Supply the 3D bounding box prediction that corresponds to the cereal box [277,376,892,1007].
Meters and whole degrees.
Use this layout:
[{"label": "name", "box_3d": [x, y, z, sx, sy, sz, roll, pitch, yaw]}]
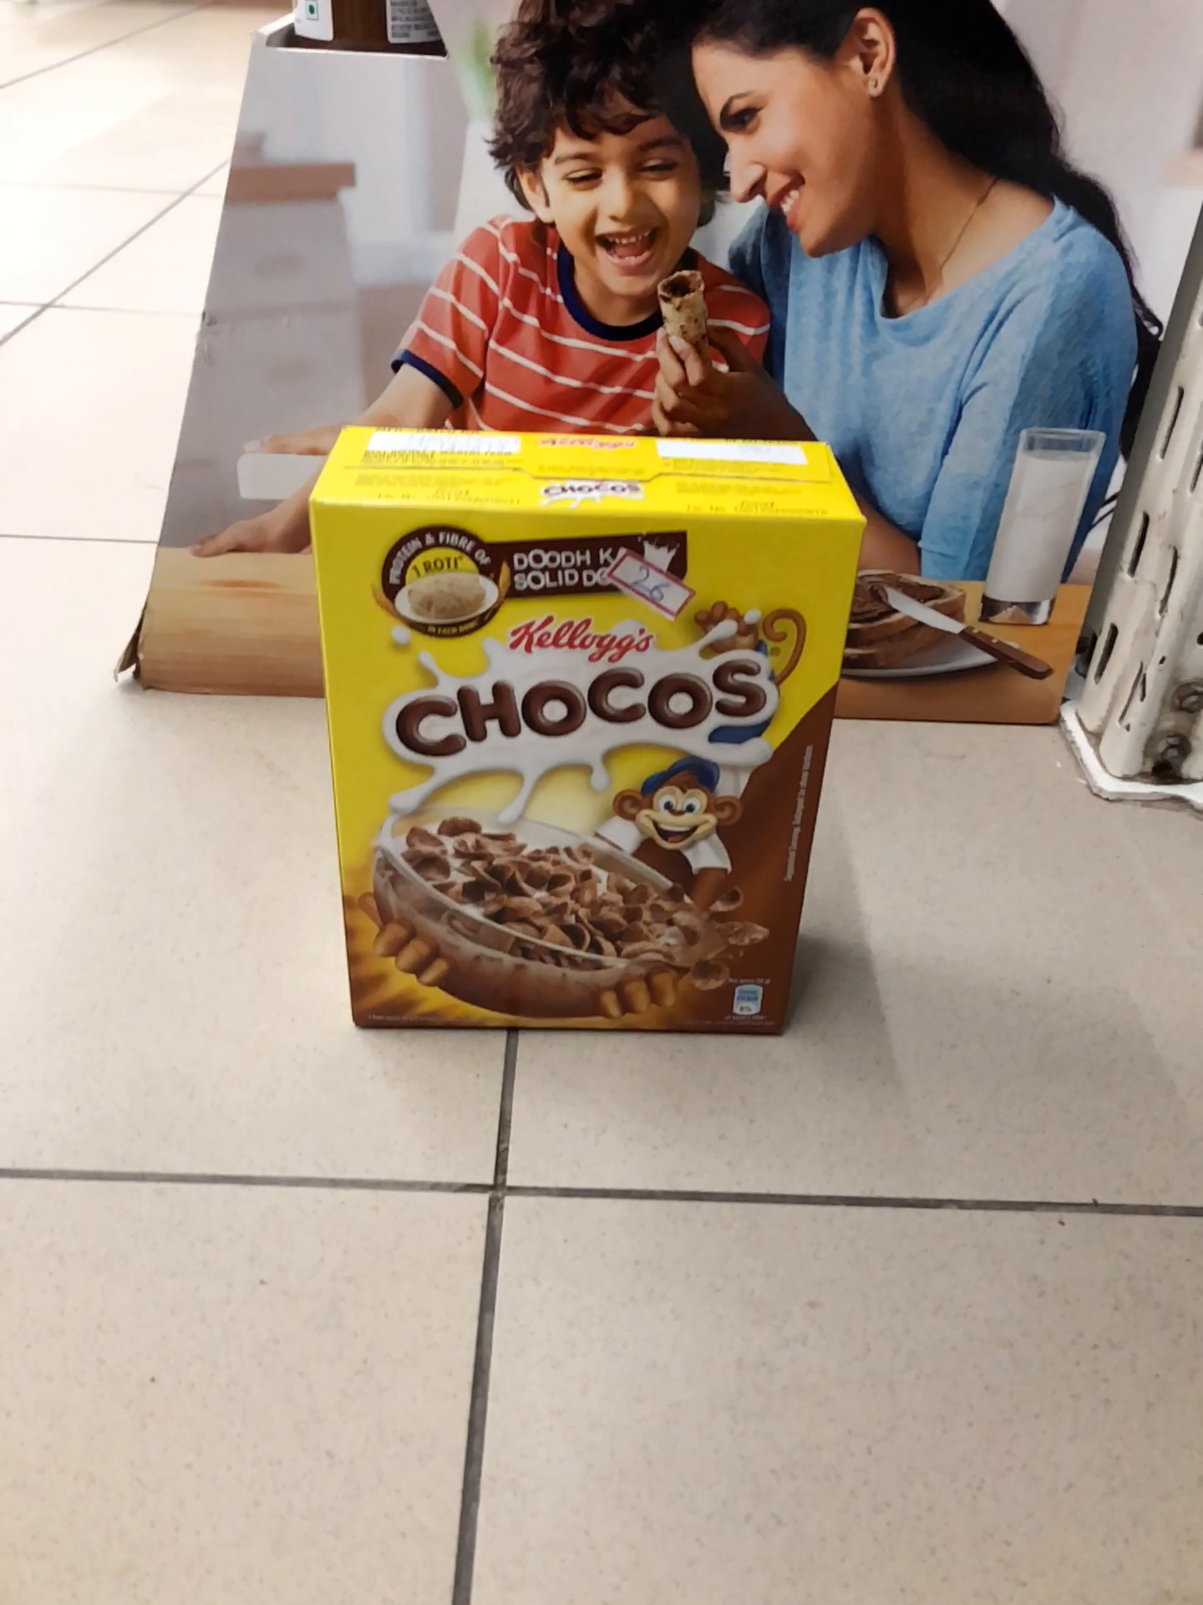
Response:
[{"label": "cereal box", "box_3d": [-0.007, -0.024, 0.371, 0.140, 0.169, 0.050, 2, 35, -2]}]
